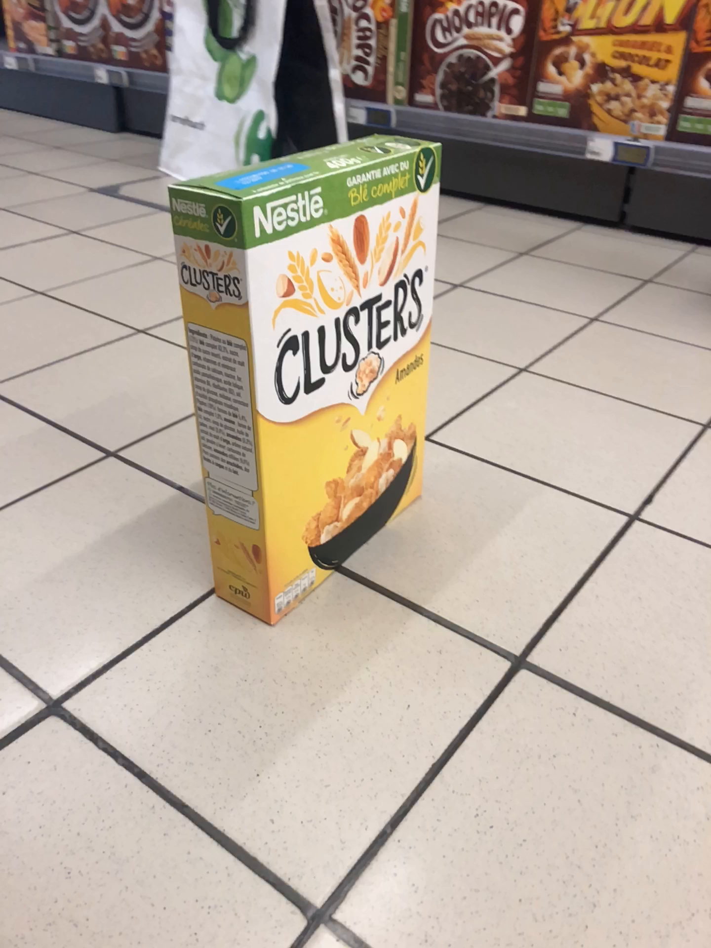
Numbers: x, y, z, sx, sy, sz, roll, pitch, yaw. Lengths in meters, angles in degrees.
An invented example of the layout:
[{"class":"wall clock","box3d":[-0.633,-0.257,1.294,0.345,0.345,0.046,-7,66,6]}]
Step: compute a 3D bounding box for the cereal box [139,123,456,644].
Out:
[{"class":"cereal box","box3d":[-0.021,-0.065,0.515,0.060,0.278,0.211,20,37,29]}]
